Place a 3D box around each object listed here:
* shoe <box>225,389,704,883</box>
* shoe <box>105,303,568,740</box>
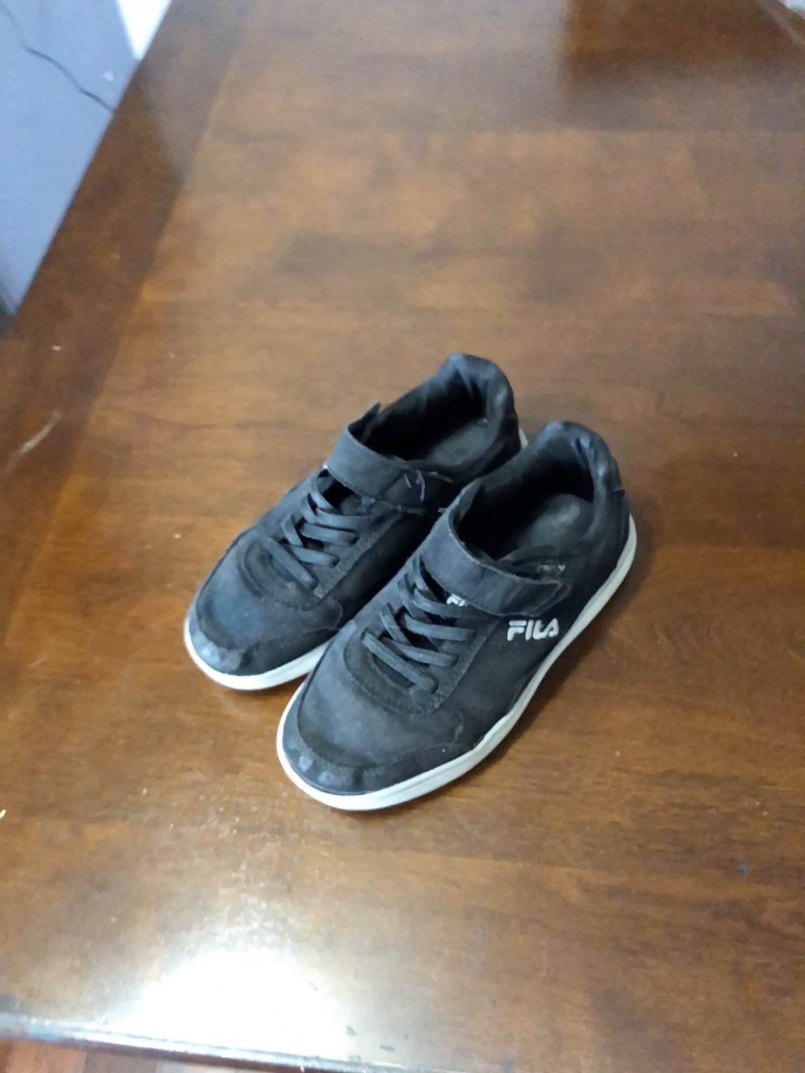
[{"bbox_3d":[0.035,0.040,0.424,0.090,0.080,0.210,37,67,26],"label":"shoe"},{"bbox_3d":[-0.024,-0.013,0.458,0.210,0.080,0.090,-39,61,-19],"label":"shoe"}]
